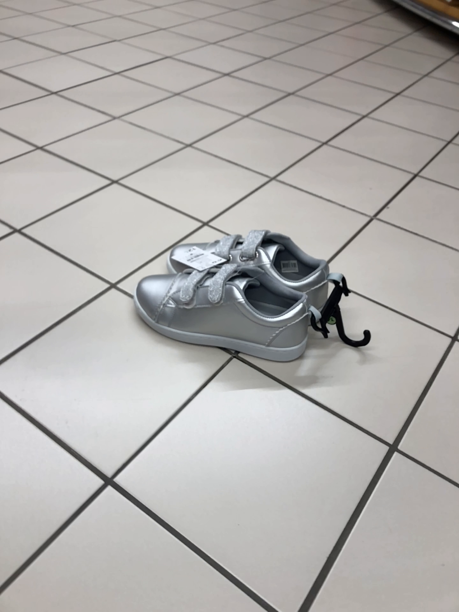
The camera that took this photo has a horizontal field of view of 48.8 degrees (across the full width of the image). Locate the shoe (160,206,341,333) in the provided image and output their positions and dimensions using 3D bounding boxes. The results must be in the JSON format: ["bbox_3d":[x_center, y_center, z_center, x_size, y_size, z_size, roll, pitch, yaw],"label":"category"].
[{"bbox_3d":[0.027,-0.051,0.670,0.215,0.085,0.091,14,42,10],"label":"shoe"}]

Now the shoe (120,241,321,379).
[{"bbox_3d":[-0.009,0.002,0.611,0.215,0.085,0.091,12,42,8],"label":"shoe"}]
